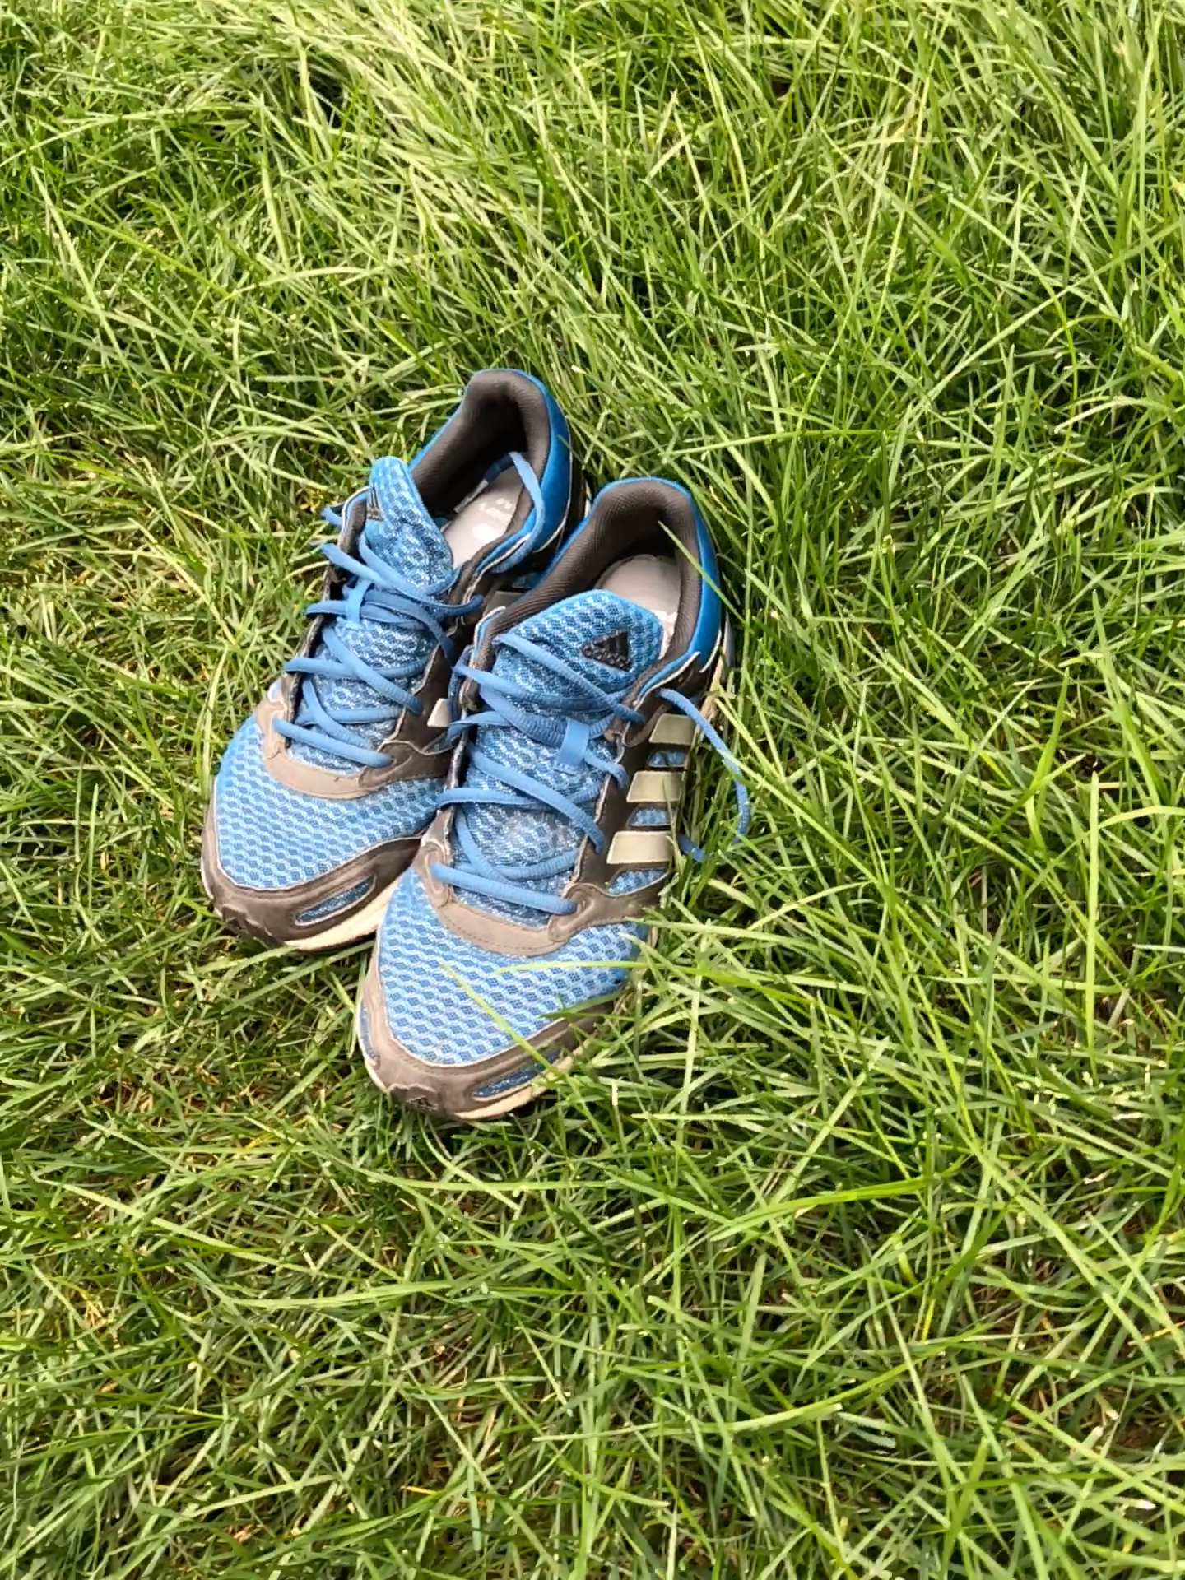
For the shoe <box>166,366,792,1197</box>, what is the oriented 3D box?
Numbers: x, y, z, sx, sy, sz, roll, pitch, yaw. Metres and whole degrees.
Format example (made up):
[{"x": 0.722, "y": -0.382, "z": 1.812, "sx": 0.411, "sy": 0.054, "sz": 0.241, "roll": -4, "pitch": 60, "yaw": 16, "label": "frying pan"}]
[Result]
[{"x": -0.028, "y": -0.004, "z": 0.511, "sx": 0.120, "sy": 0.120, "sz": 0.280, "roll": 14, "pitch": 74, "yaw": 20, "label": "shoe"}]

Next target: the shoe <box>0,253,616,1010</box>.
[{"x": -0.111, "y": -0.066, "z": 0.550, "sx": 0.120, "sy": 0.120, "sz": 0.270, "roll": 19, "pitch": 76, "yaw": 21, "label": "shoe"}]
